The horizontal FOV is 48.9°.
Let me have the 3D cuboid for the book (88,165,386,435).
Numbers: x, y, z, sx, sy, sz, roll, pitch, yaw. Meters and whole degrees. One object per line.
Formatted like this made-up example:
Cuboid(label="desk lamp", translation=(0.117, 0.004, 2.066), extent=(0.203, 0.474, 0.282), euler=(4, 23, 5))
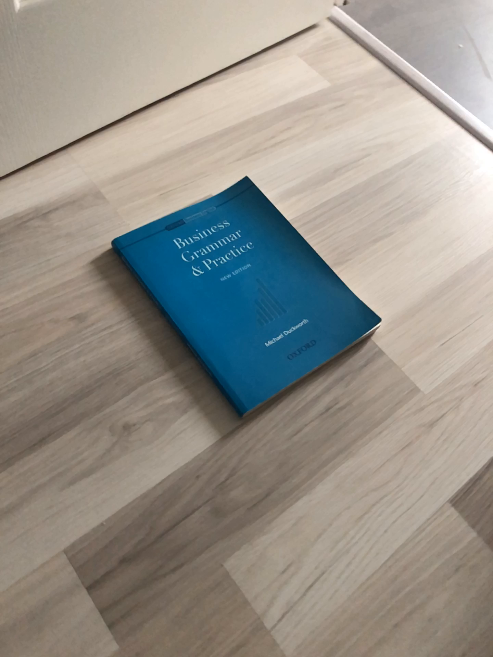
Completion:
Cuboid(label="book", translation=(-0.015, -0.056, 0.673), extent=(0.231, 0.040, 0.300), euler=(-30, 67, -24))
